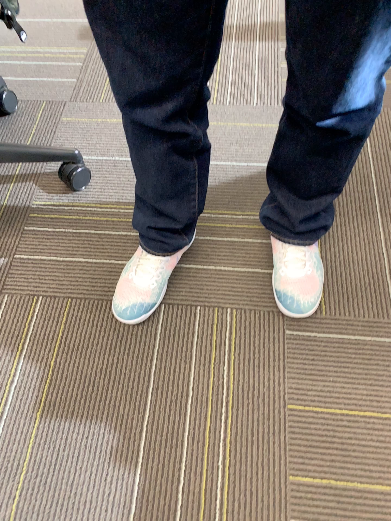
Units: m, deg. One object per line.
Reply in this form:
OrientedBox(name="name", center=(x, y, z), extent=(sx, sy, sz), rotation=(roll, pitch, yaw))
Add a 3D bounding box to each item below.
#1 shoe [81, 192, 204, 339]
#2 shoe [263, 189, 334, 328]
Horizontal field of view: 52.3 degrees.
OrientedBox(name="shoe", center=(-0.100, 0.005, 0.844), extent=(0.118, 0.088, 0.283), rotation=(23, 66, 16))
OrientedBox(name="shoe", center=(0.209, -0.011, 0.843), extent=(0.122, 0.078, 0.290), rotation=(1, 62, 6))
